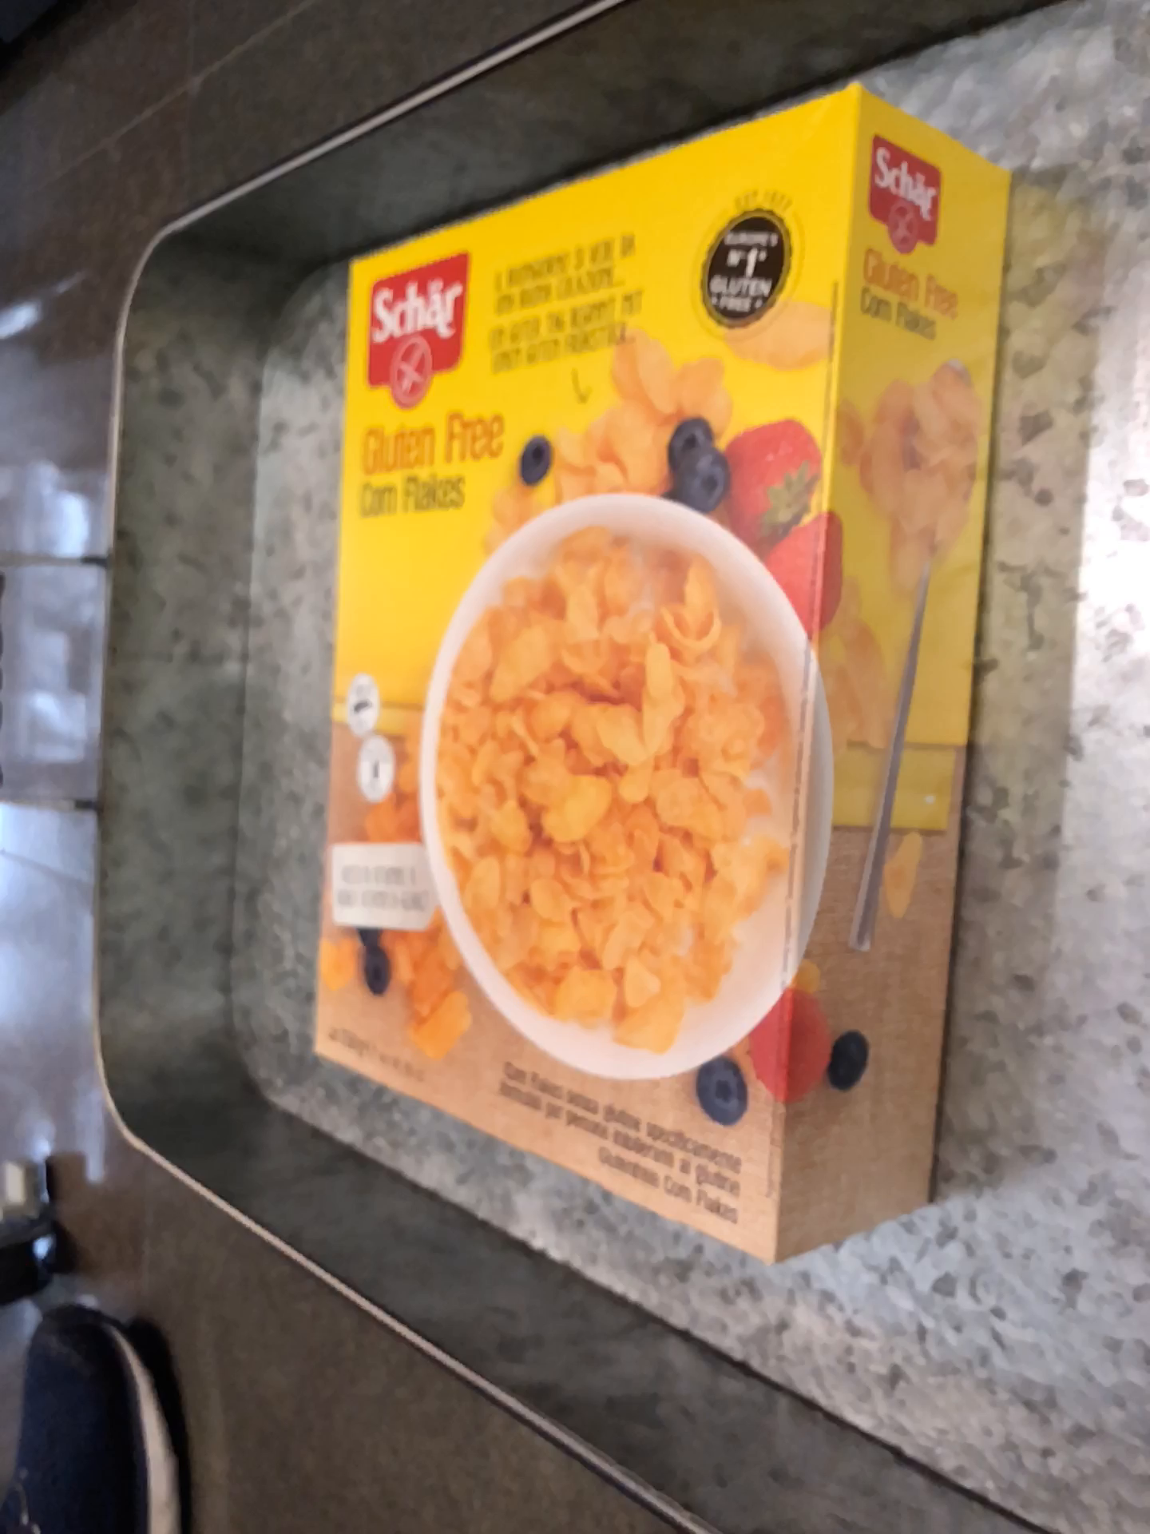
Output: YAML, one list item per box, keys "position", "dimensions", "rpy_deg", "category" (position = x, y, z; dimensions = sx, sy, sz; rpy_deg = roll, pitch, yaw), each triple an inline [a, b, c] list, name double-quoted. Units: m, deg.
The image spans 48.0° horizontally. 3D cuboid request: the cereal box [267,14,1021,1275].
- position: [0.002, -0.029, 0.354]
  dimensions: [0.201, 0.070, 0.250]
  rpy_deg: [7, 95, 47]
  category: "cereal box"
